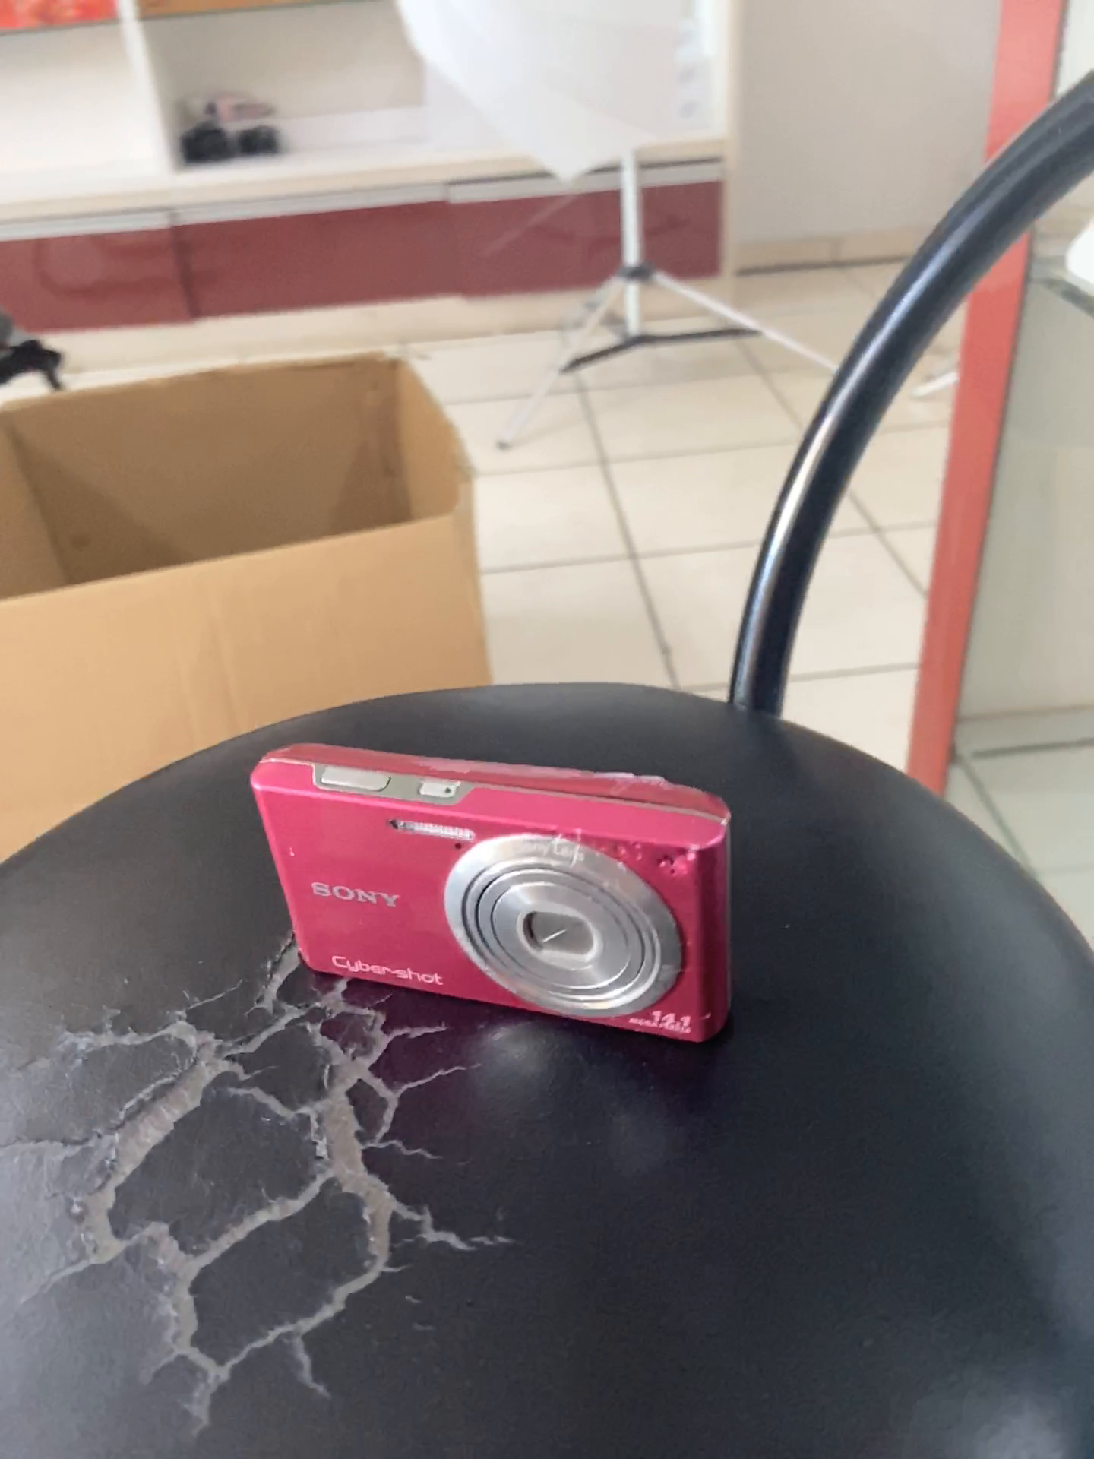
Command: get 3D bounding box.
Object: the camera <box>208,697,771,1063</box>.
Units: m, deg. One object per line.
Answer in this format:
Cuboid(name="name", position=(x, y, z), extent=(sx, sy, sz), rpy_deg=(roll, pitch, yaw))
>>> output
Cuboid(name="camera", position=(-0.009, 0.027, 0.223), extent=(0.100, 0.050, 0.030), rpy_deg=(6, 36, 19))
